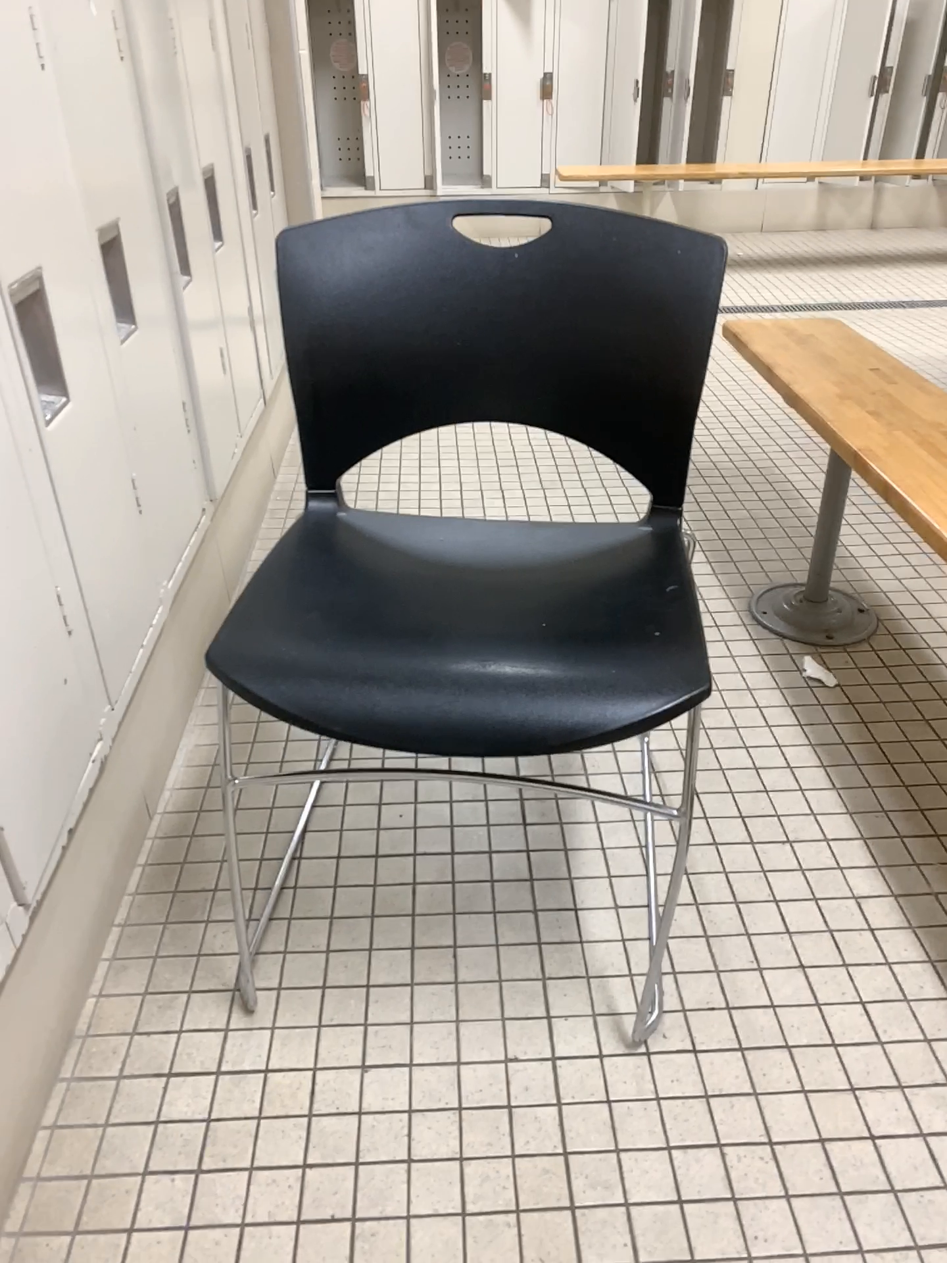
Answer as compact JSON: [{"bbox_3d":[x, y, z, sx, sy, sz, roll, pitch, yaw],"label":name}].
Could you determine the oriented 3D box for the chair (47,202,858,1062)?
[{"bbox_3d":[0.016,-0.059,0.974,0.475,0.630,0.616,3,31,6],"label":"chair"}]
